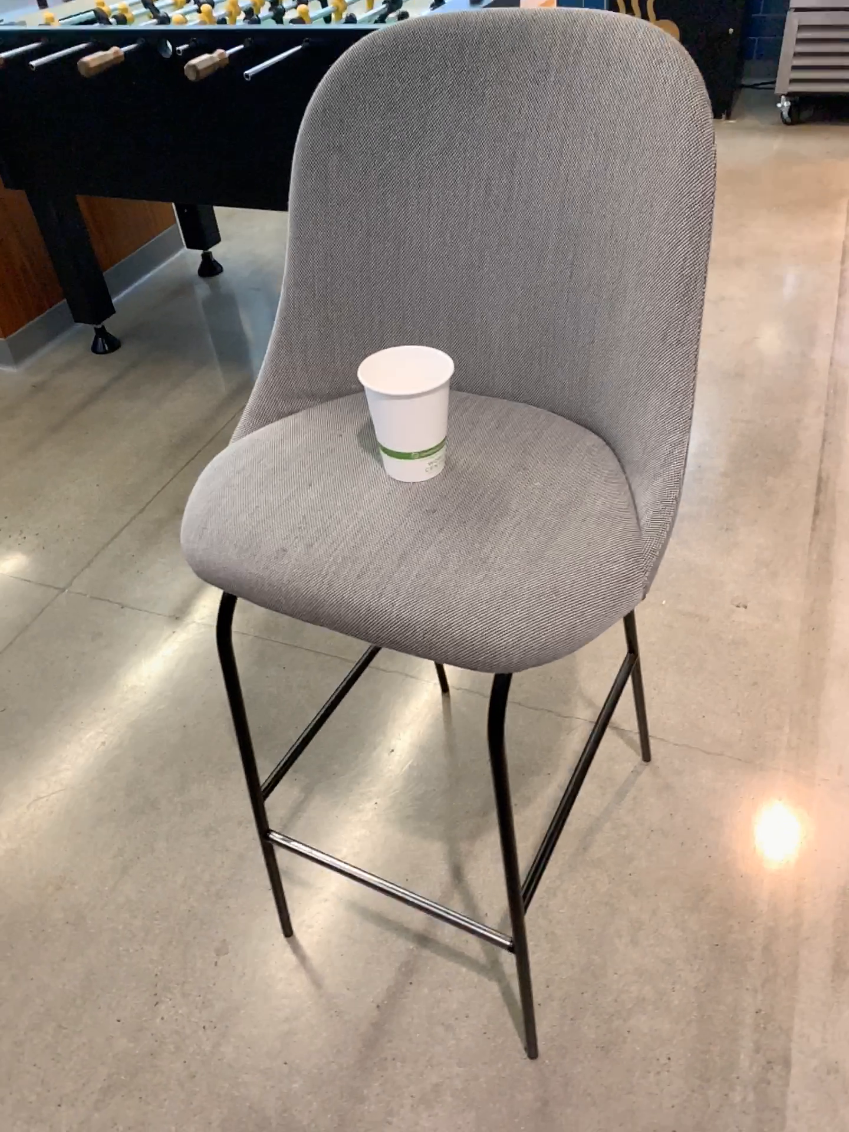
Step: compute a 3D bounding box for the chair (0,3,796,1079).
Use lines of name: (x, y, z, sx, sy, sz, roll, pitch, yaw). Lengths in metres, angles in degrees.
chair: (0.035, 0.016, 1.022, 0.471, 1.054, 0.572, 16, 46, 23)
